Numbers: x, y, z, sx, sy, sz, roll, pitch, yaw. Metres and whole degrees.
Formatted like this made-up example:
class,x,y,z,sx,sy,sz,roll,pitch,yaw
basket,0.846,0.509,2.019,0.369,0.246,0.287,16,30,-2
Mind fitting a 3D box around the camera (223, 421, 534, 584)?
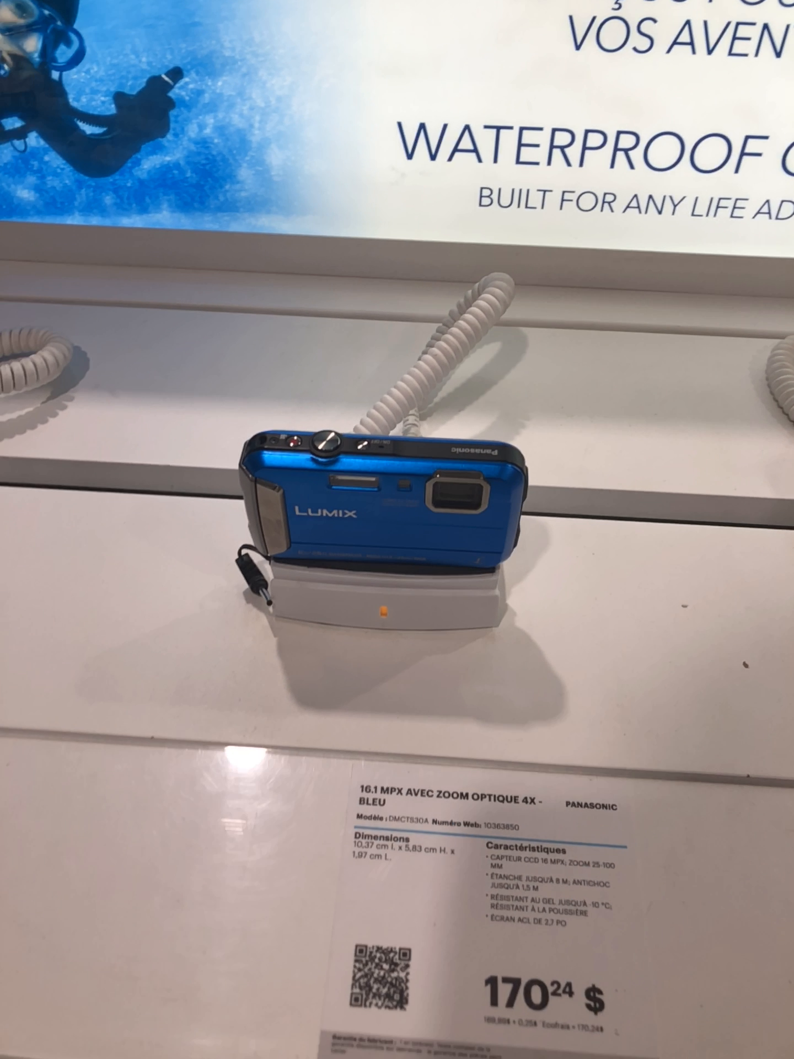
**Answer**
class,x,y,z,sx,sy,sz,roll,pitch,yaw
camera,-0.006,-0.009,0.327,0.106,0.060,0.020,2,47,2
